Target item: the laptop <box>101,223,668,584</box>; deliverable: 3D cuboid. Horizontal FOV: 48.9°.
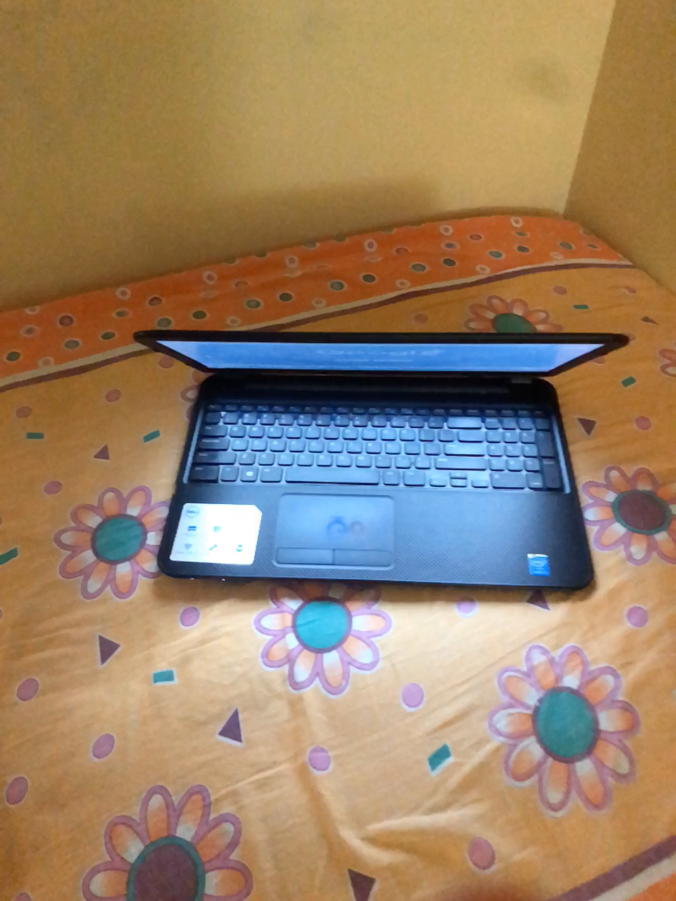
[{"bbox_3d":[0.033,-0.043,0.632,0.366,0.190,0.238,1,50,3],"label":"laptop"}]
